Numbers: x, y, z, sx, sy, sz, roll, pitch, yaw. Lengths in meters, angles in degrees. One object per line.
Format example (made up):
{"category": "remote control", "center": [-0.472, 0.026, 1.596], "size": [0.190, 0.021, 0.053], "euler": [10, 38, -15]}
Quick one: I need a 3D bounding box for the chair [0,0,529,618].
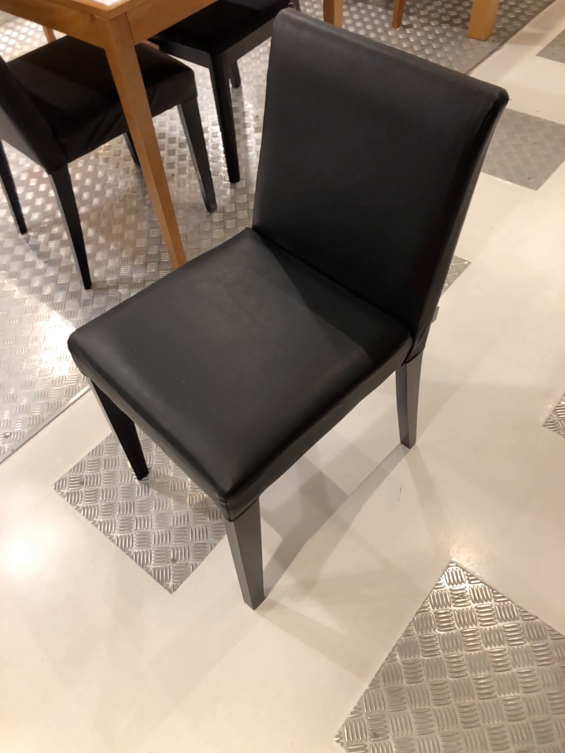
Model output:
{"category": "chair", "center": [-0.032, -0.070, 1.094], "size": [0.551, 0.825, 0.472], "euler": [-38, 58, -22]}
